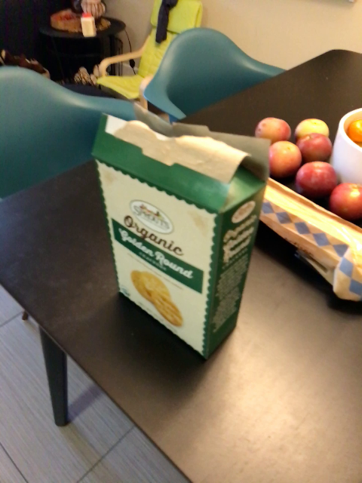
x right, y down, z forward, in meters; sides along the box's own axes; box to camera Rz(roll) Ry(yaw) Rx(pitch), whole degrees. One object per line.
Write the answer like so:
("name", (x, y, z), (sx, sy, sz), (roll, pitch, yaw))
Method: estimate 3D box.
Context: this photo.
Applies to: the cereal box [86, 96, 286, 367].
("cereal box", (-0.002, -0.005, 0.434), (0.170, 0.248, 0.081), (31, 50, 30))
